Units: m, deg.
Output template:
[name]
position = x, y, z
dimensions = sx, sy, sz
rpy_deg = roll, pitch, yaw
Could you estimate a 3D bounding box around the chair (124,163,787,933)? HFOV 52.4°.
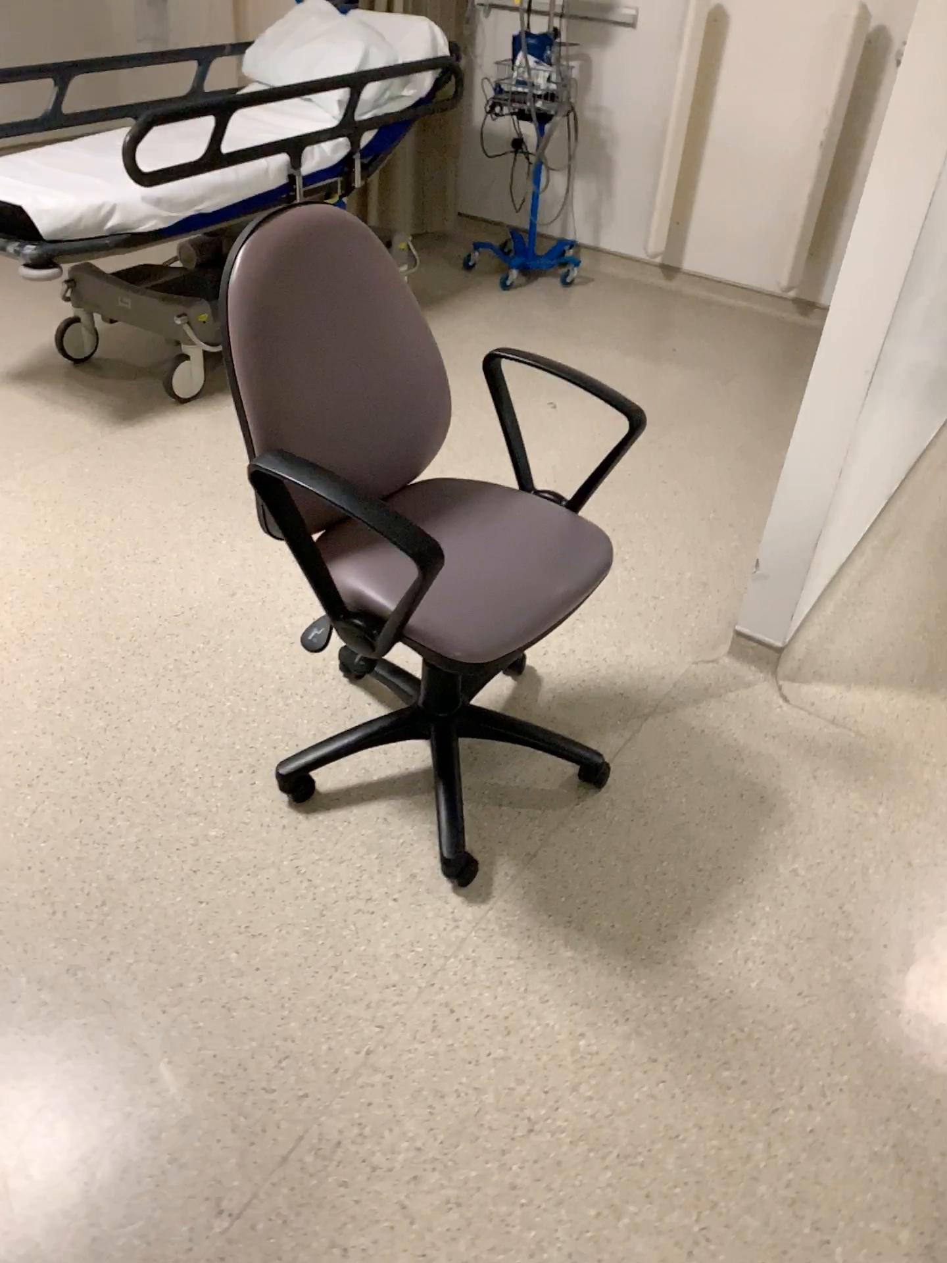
[chair]
position = -0.029, -0.173, 1.569
dimensions = 0.656, 0.899, 0.636
rpy_deg = 25, 41, 25
